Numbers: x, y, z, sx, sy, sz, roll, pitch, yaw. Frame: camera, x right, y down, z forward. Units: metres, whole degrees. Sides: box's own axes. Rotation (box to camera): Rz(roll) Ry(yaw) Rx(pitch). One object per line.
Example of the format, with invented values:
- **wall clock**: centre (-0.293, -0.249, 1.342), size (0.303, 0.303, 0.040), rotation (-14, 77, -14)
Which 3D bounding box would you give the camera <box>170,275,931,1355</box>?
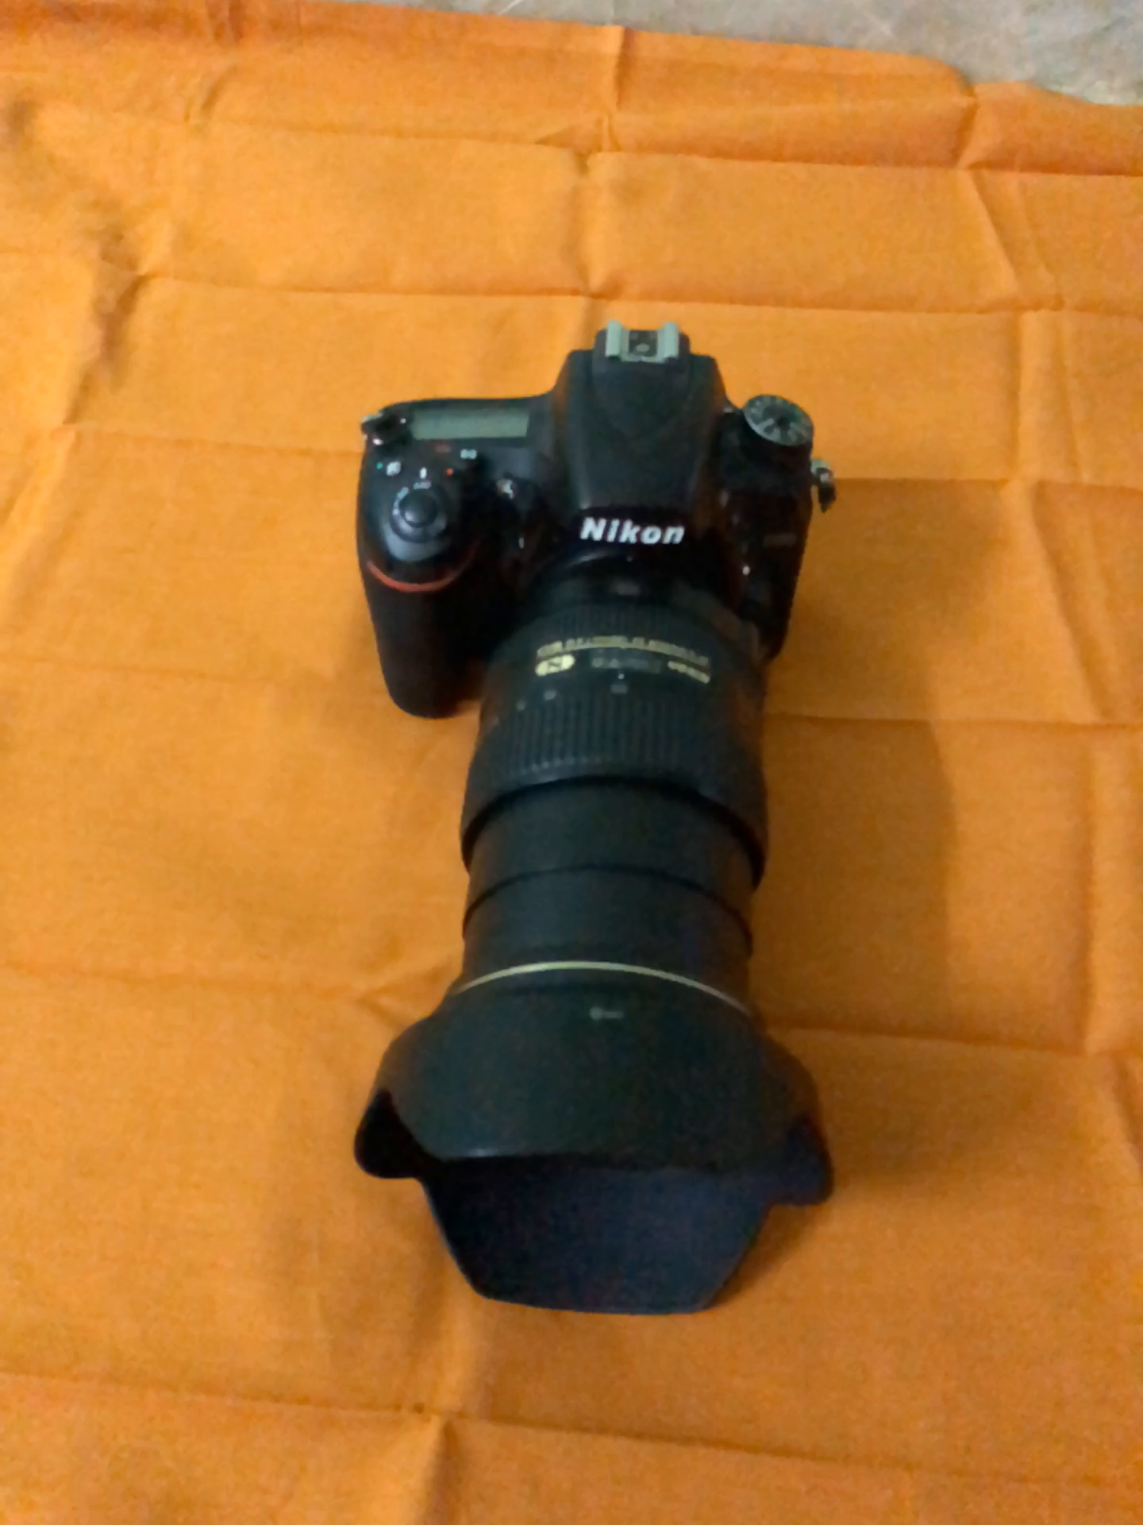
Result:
- **camera**: centre (0.002, 0.002, 0.339), size (0.130, 0.120, 0.265), rotation (2, 56, 2)
